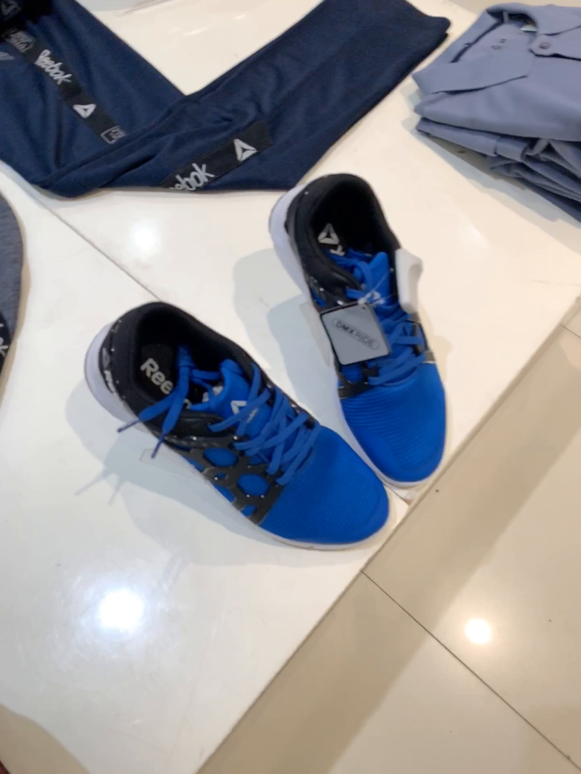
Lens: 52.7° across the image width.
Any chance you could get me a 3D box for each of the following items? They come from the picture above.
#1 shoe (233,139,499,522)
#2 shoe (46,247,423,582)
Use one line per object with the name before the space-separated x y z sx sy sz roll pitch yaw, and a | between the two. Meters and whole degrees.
shoe | 0.069 -0.040 0.496 0.100 0.080 0.289 -30 110 -11
shoe | -0.036 0.036 0.473 0.279 0.100 0.100 41 60 -19
